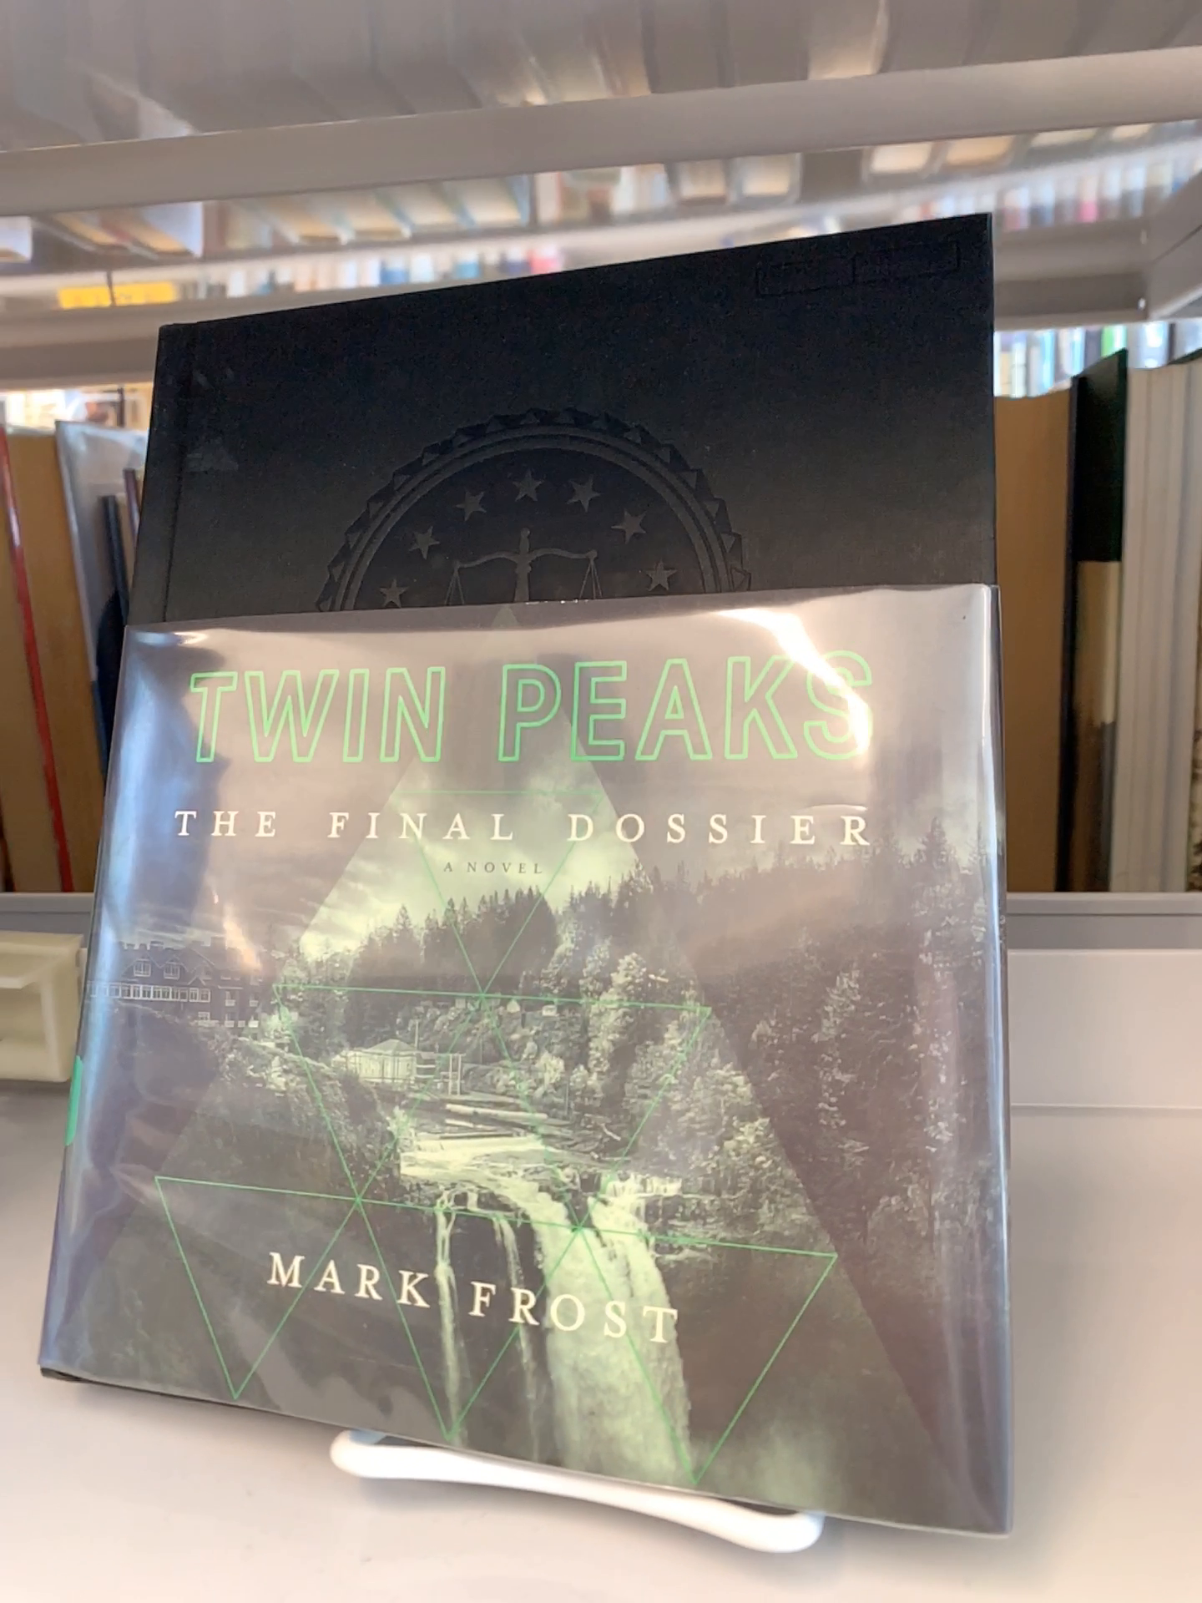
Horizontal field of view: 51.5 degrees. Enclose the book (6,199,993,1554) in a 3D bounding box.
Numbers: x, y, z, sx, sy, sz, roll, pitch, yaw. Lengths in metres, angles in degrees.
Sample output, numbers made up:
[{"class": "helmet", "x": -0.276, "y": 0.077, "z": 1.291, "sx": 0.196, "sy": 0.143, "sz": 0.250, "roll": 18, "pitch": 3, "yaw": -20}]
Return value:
[{"class": "book", "x": -0.023, "y": 0.005, "z": 0.249, "sx": 0.190, "sy": 0.228, "sz": 0.020, "roll": 0, "pitch": -8, "yaw": 19}]
